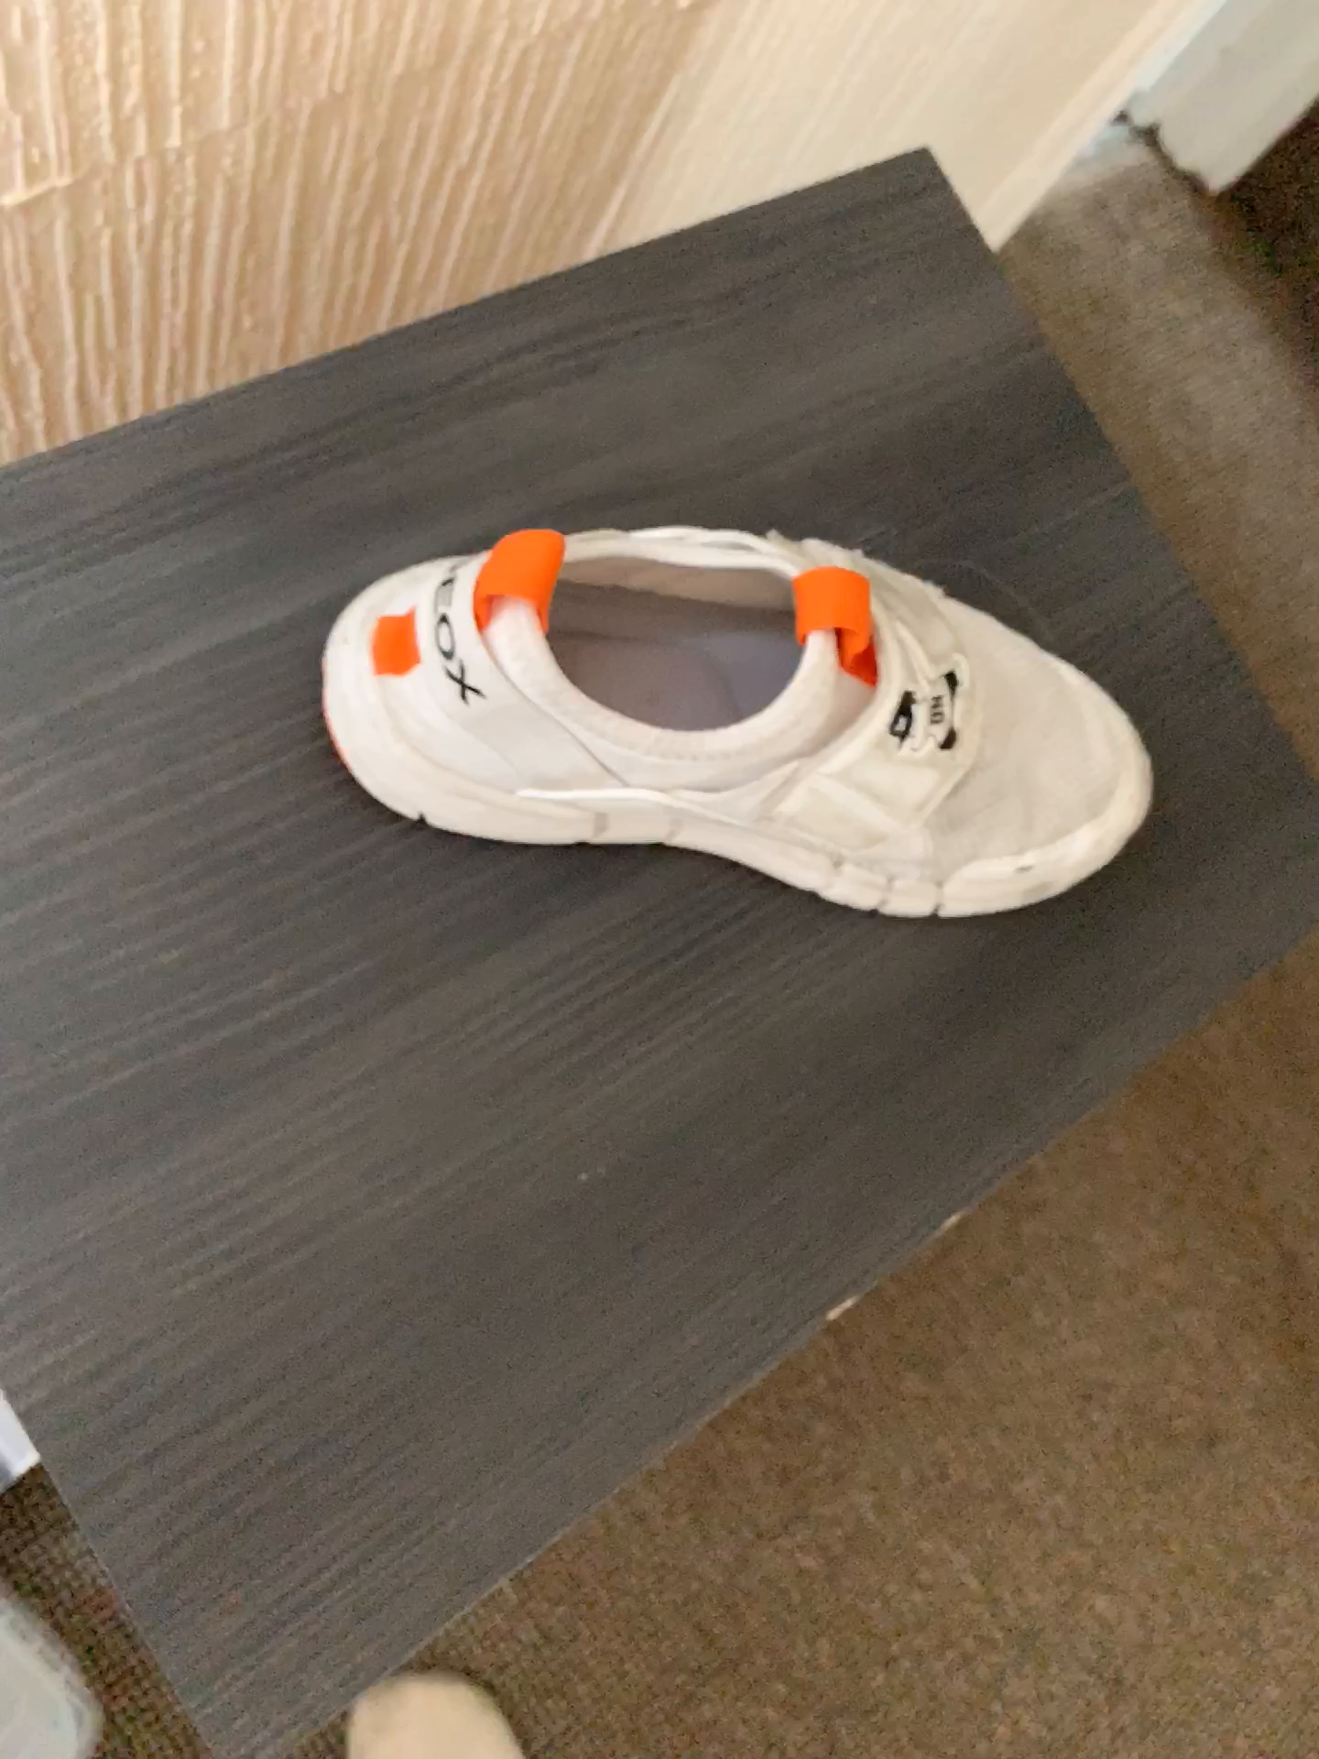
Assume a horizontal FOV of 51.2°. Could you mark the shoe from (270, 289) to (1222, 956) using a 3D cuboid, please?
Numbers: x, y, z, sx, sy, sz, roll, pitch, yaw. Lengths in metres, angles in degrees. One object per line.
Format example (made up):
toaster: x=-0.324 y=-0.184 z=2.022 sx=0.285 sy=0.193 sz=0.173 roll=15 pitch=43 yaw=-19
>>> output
shoe: x=0.026 y=-0.052 z=0.348 sx=0.222 sy=0.070 sz=0.100 roll=10 pitch=73 yaw=-18
